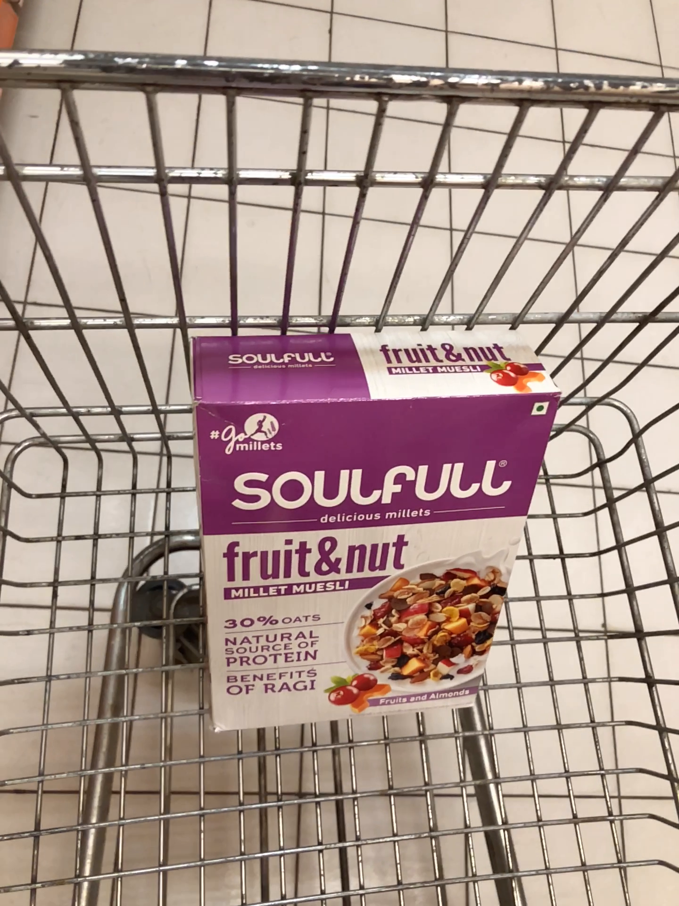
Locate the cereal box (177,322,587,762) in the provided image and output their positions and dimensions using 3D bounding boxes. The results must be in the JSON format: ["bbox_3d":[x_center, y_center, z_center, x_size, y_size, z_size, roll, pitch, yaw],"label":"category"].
[{"bbox_3d":[0.008,0.056,0.403,0.170,0.239,0.070,-3,37,-10],"label":"cereal box"}]
